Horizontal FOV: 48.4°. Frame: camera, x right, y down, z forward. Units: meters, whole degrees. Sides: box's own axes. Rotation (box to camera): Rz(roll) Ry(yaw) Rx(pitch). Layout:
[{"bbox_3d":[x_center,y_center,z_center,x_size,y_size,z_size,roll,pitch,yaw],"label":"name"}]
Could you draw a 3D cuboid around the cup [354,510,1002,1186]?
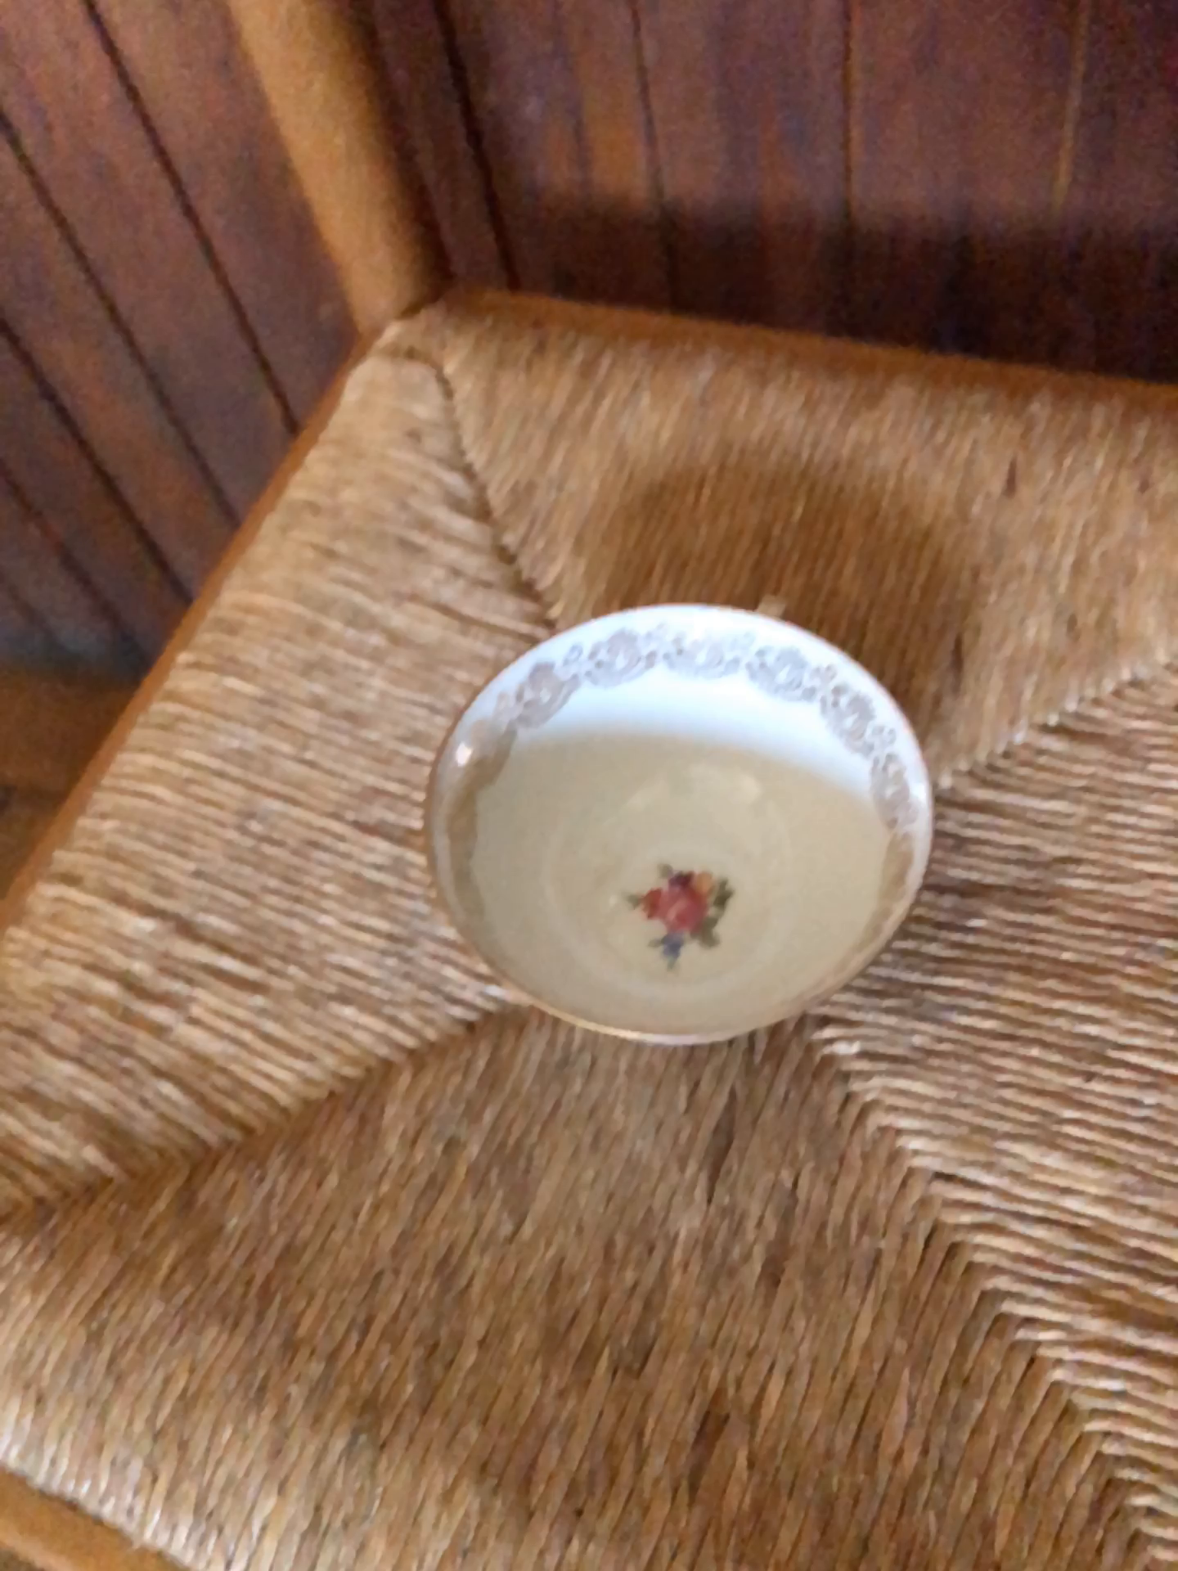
[{"bbox_3d":[0.027,0.009,0.309,0.110,0.050,0.131,12,63,16],"label":"cup"}]
